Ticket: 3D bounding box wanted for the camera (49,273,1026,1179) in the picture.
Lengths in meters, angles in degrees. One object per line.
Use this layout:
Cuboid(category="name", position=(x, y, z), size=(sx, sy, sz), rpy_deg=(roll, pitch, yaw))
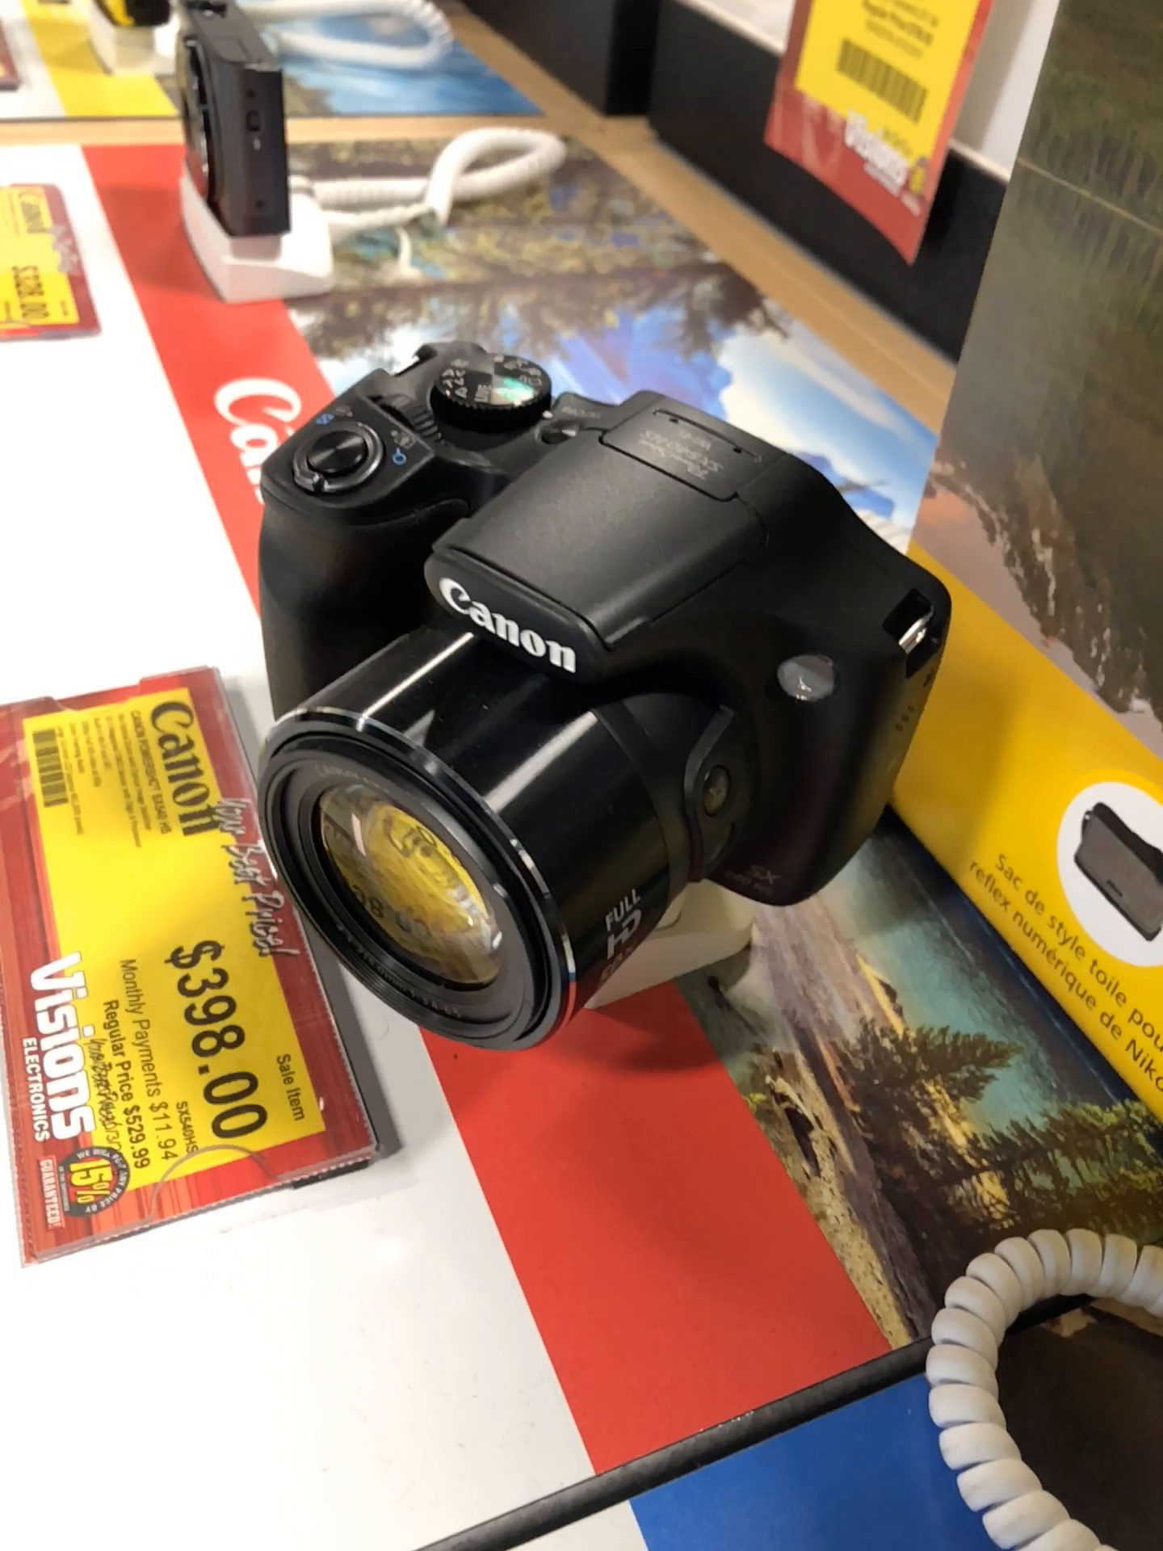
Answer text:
Cuboid(category="camera", position=(-0.010, -0.018, 0.224), size=(0.120, 0.079, 0.090), rpy_deg=(32, 47, 26))
